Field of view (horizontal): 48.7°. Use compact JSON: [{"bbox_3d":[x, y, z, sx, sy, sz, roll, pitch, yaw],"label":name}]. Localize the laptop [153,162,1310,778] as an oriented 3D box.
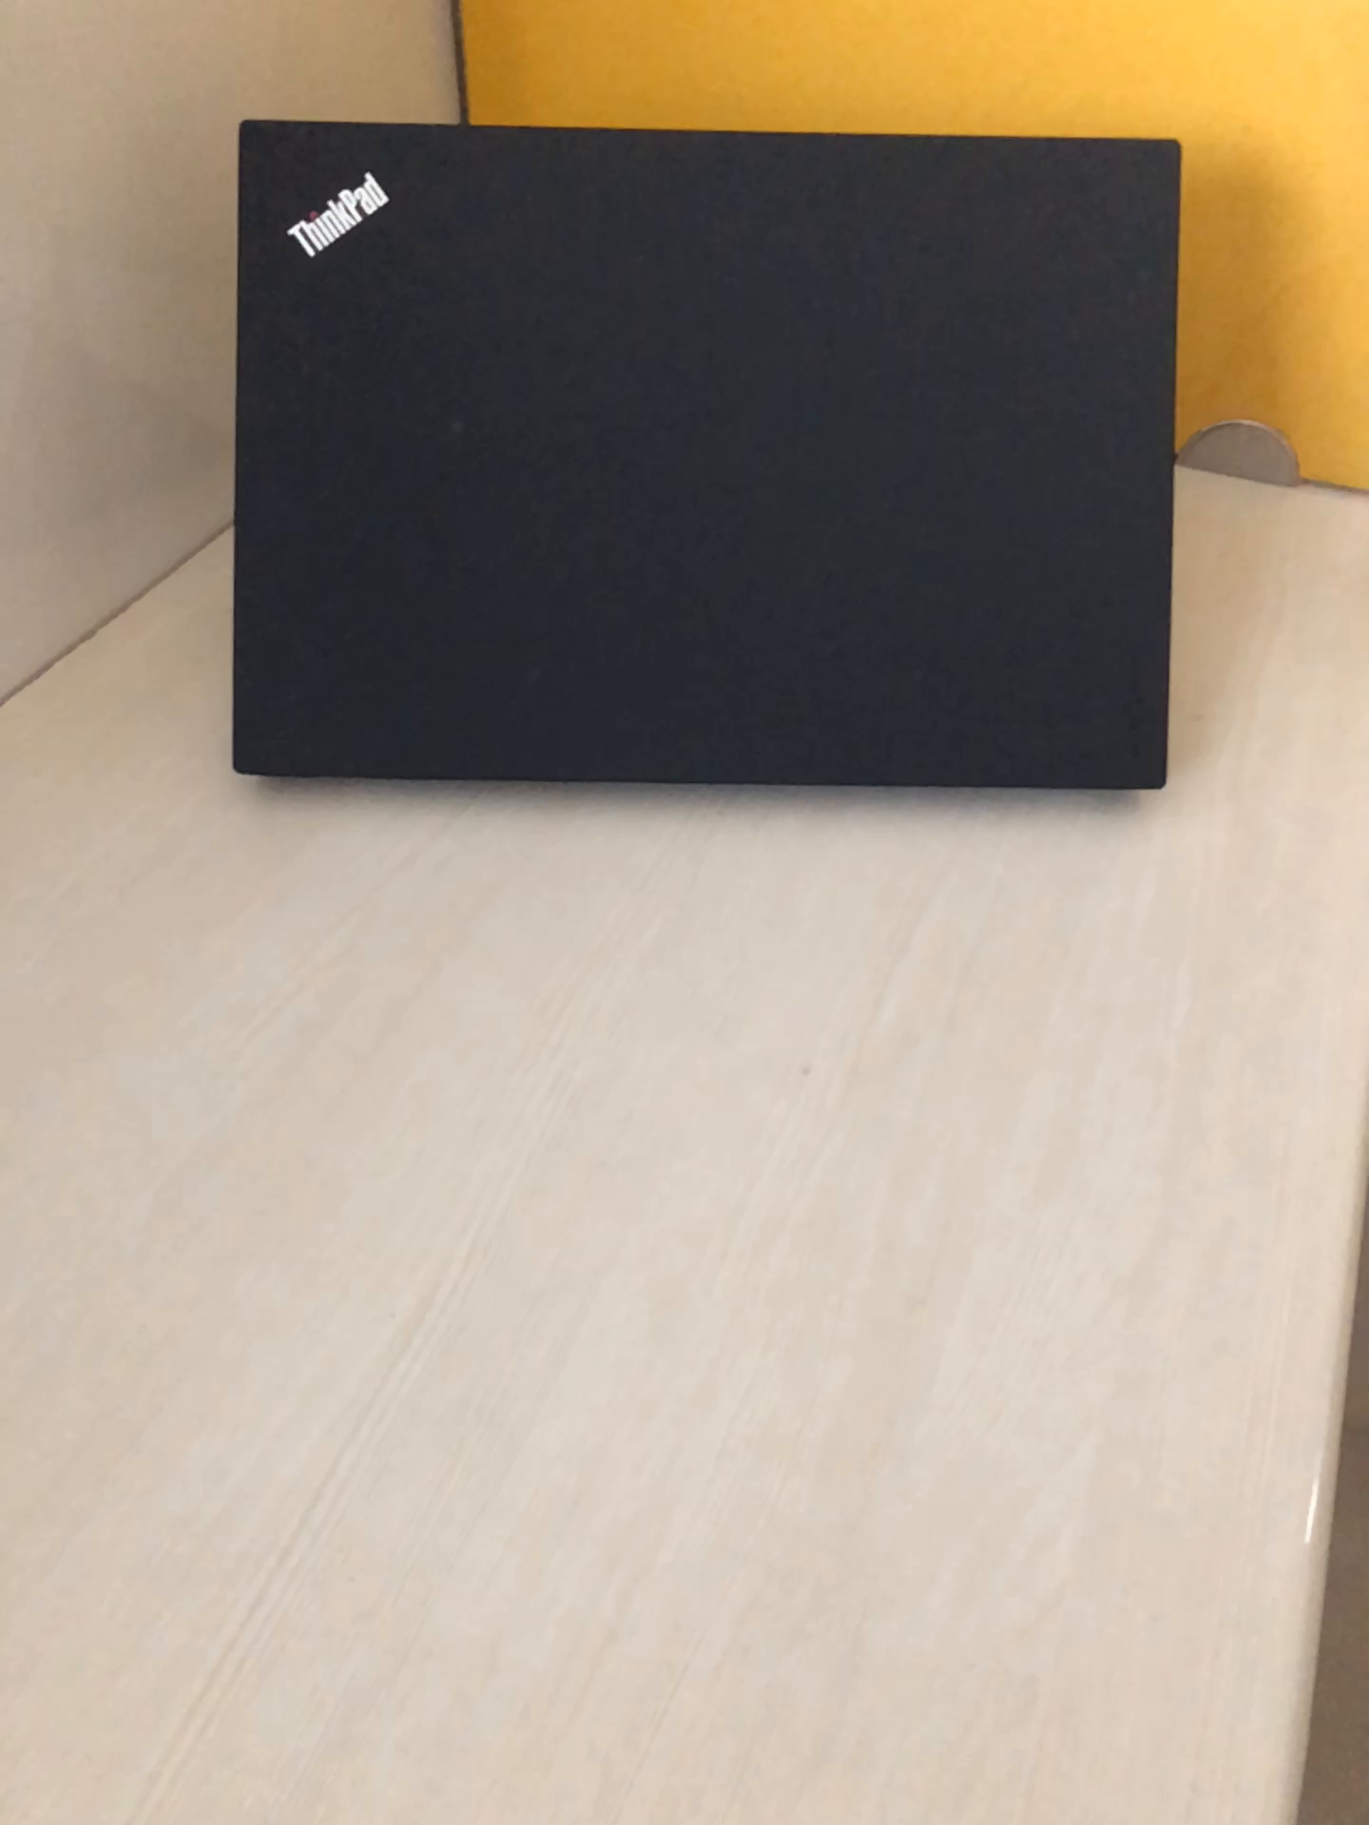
[{"bbox_3d":[0.010,-0.186,0.609,0.349,0.166,0.241,0,39,0],"label":"laptop"}]
